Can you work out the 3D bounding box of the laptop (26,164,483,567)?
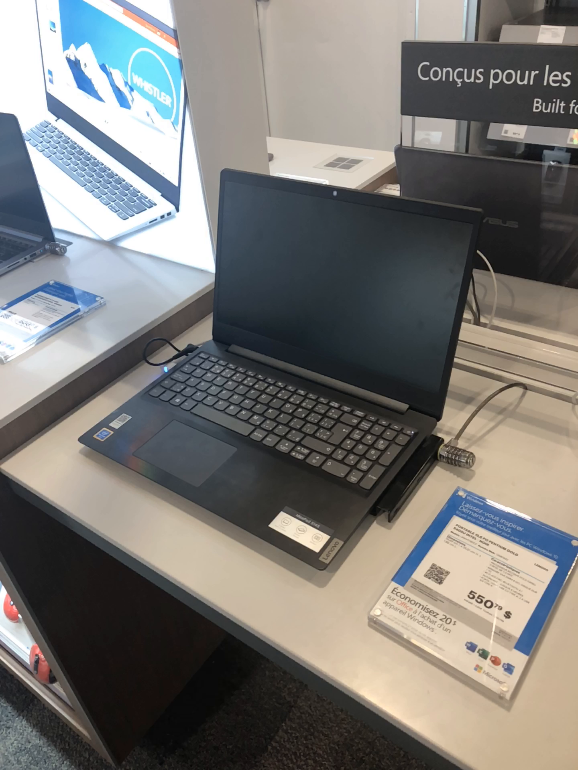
[{"bbox_3d":[-0.024,-0.060,0.706,0.346,0.213,0.323,20,46,31],"label":"laptop"}]
